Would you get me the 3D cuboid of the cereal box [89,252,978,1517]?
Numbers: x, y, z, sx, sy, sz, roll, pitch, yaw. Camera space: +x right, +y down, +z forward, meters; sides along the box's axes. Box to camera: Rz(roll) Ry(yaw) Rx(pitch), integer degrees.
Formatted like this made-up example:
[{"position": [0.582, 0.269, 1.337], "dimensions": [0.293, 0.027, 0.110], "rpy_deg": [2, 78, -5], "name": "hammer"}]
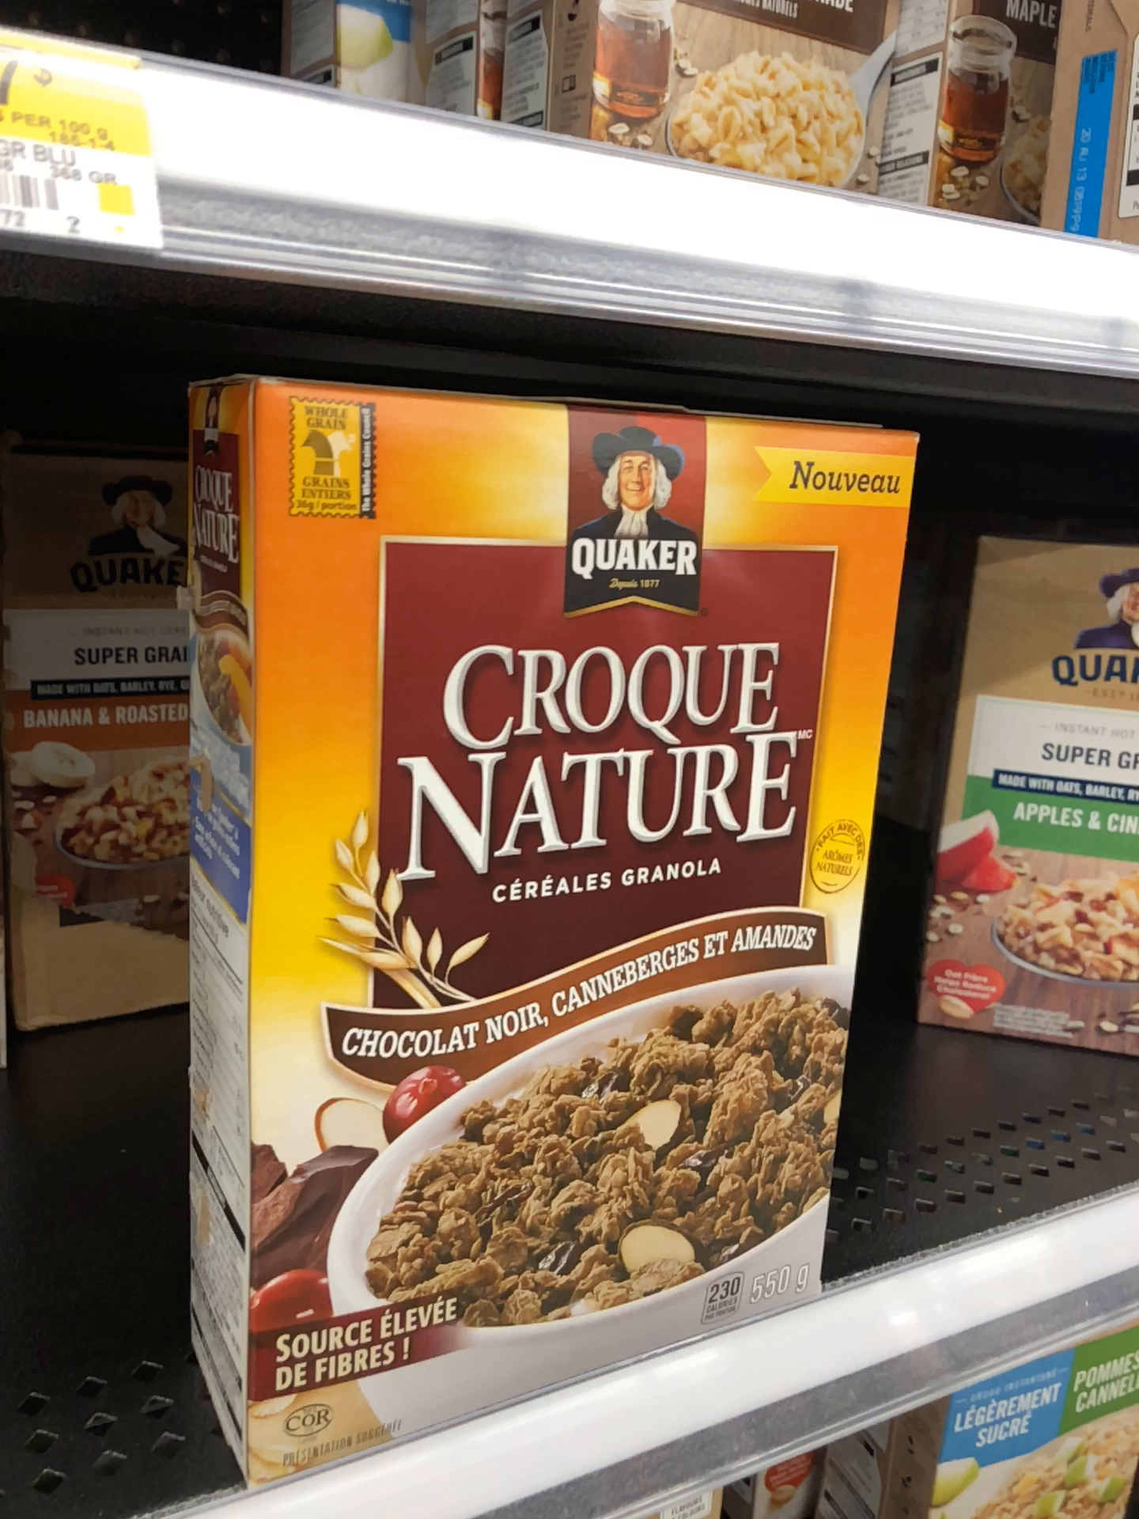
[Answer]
[{"position": [-0.009, 0.023, 0.276], "dimensions": [0.170, 0.229, 0.050], "rpy_deg": [-4, 16, -28], "name": "cereal box"}]
